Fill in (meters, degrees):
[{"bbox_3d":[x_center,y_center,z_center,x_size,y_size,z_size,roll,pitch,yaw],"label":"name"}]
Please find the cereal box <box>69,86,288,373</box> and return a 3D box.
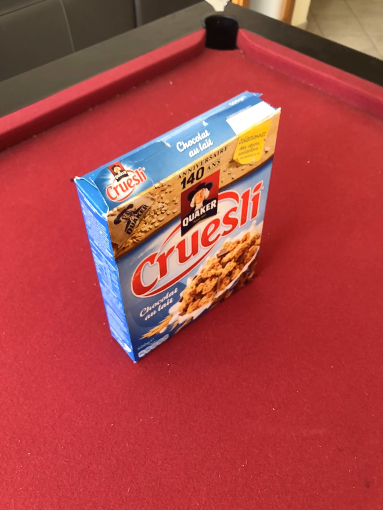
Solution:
[{"bbox_3d":[-0.006,-0.011,0.439,0.191,0.259,0.050,-36,60,-27],"label":"cereal box"}]
